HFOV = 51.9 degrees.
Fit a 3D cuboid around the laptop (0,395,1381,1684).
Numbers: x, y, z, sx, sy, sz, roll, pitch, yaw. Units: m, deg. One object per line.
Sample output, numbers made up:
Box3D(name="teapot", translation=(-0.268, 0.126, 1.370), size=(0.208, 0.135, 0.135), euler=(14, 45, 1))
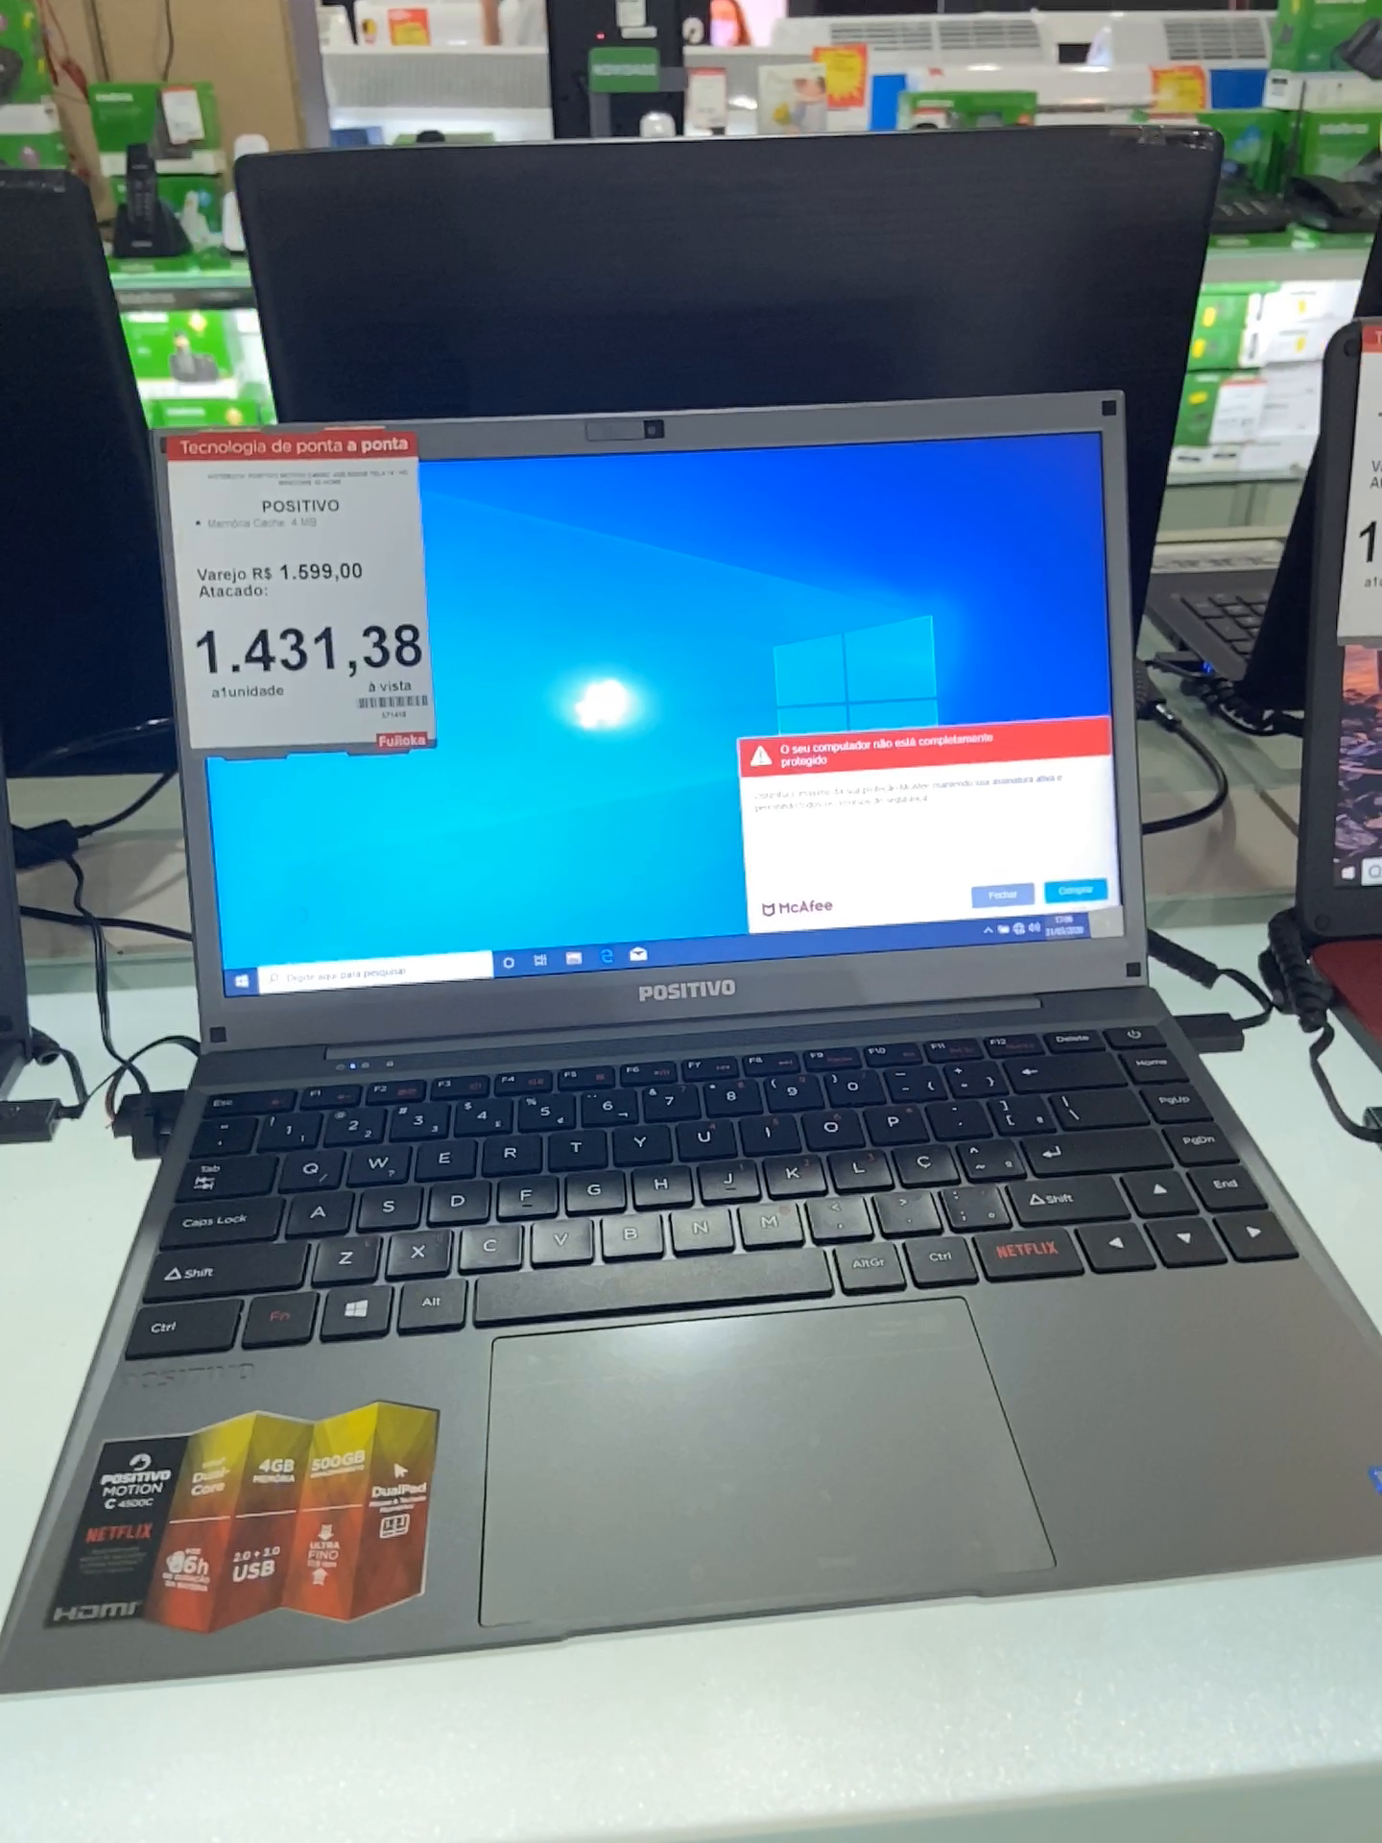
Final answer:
Box3D(name="laptop", translation=(0.001, -0.013, 0.398), size=(0.330, 0.183, 0.321), euler=(-3, 32, -4))
